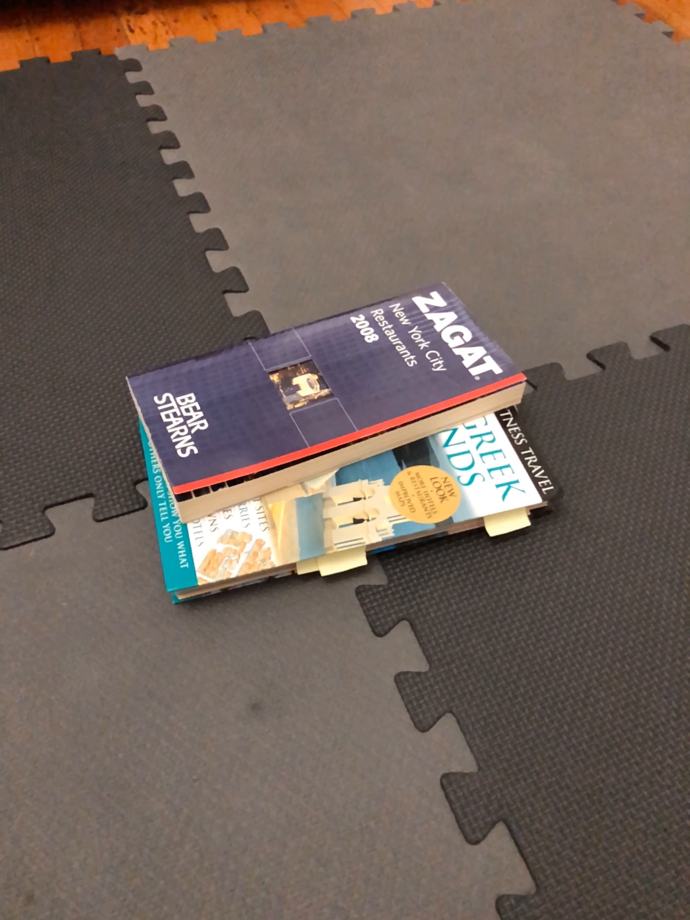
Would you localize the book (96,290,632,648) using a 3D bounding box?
[{"bbox_3d":[0.001,-0.010,0.436,0.260,0.030,0.171,-13,53,-11],"label":"book"}]

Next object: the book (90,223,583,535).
[{"bbox_3d":[-0.008,-0.063,0.455,0.250,0.020,0.151,-20,54,-16],"label":"book"}]
